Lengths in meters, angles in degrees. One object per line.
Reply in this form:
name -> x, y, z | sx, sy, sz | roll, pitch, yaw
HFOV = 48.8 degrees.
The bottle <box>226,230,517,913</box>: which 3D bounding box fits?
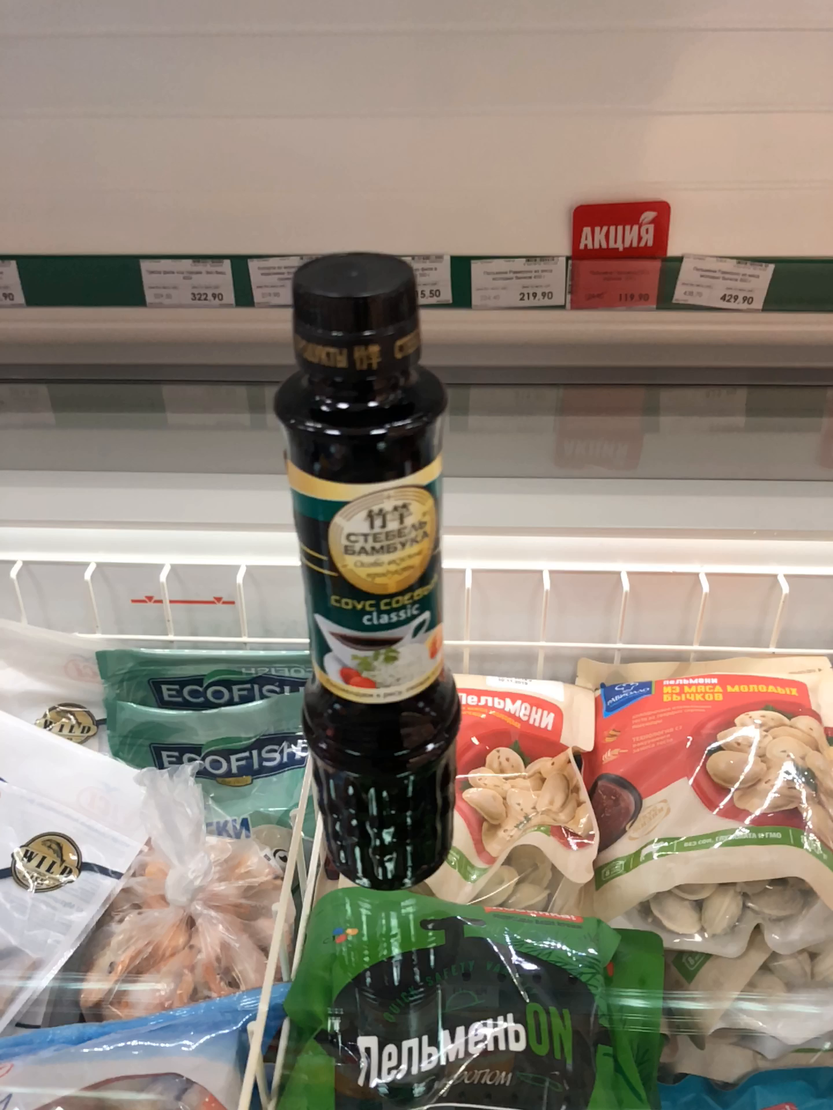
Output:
bottle -> -0.014, 0.015, 0.271 | 0.058, 0.199, 0.054 | 0, 34, 0
